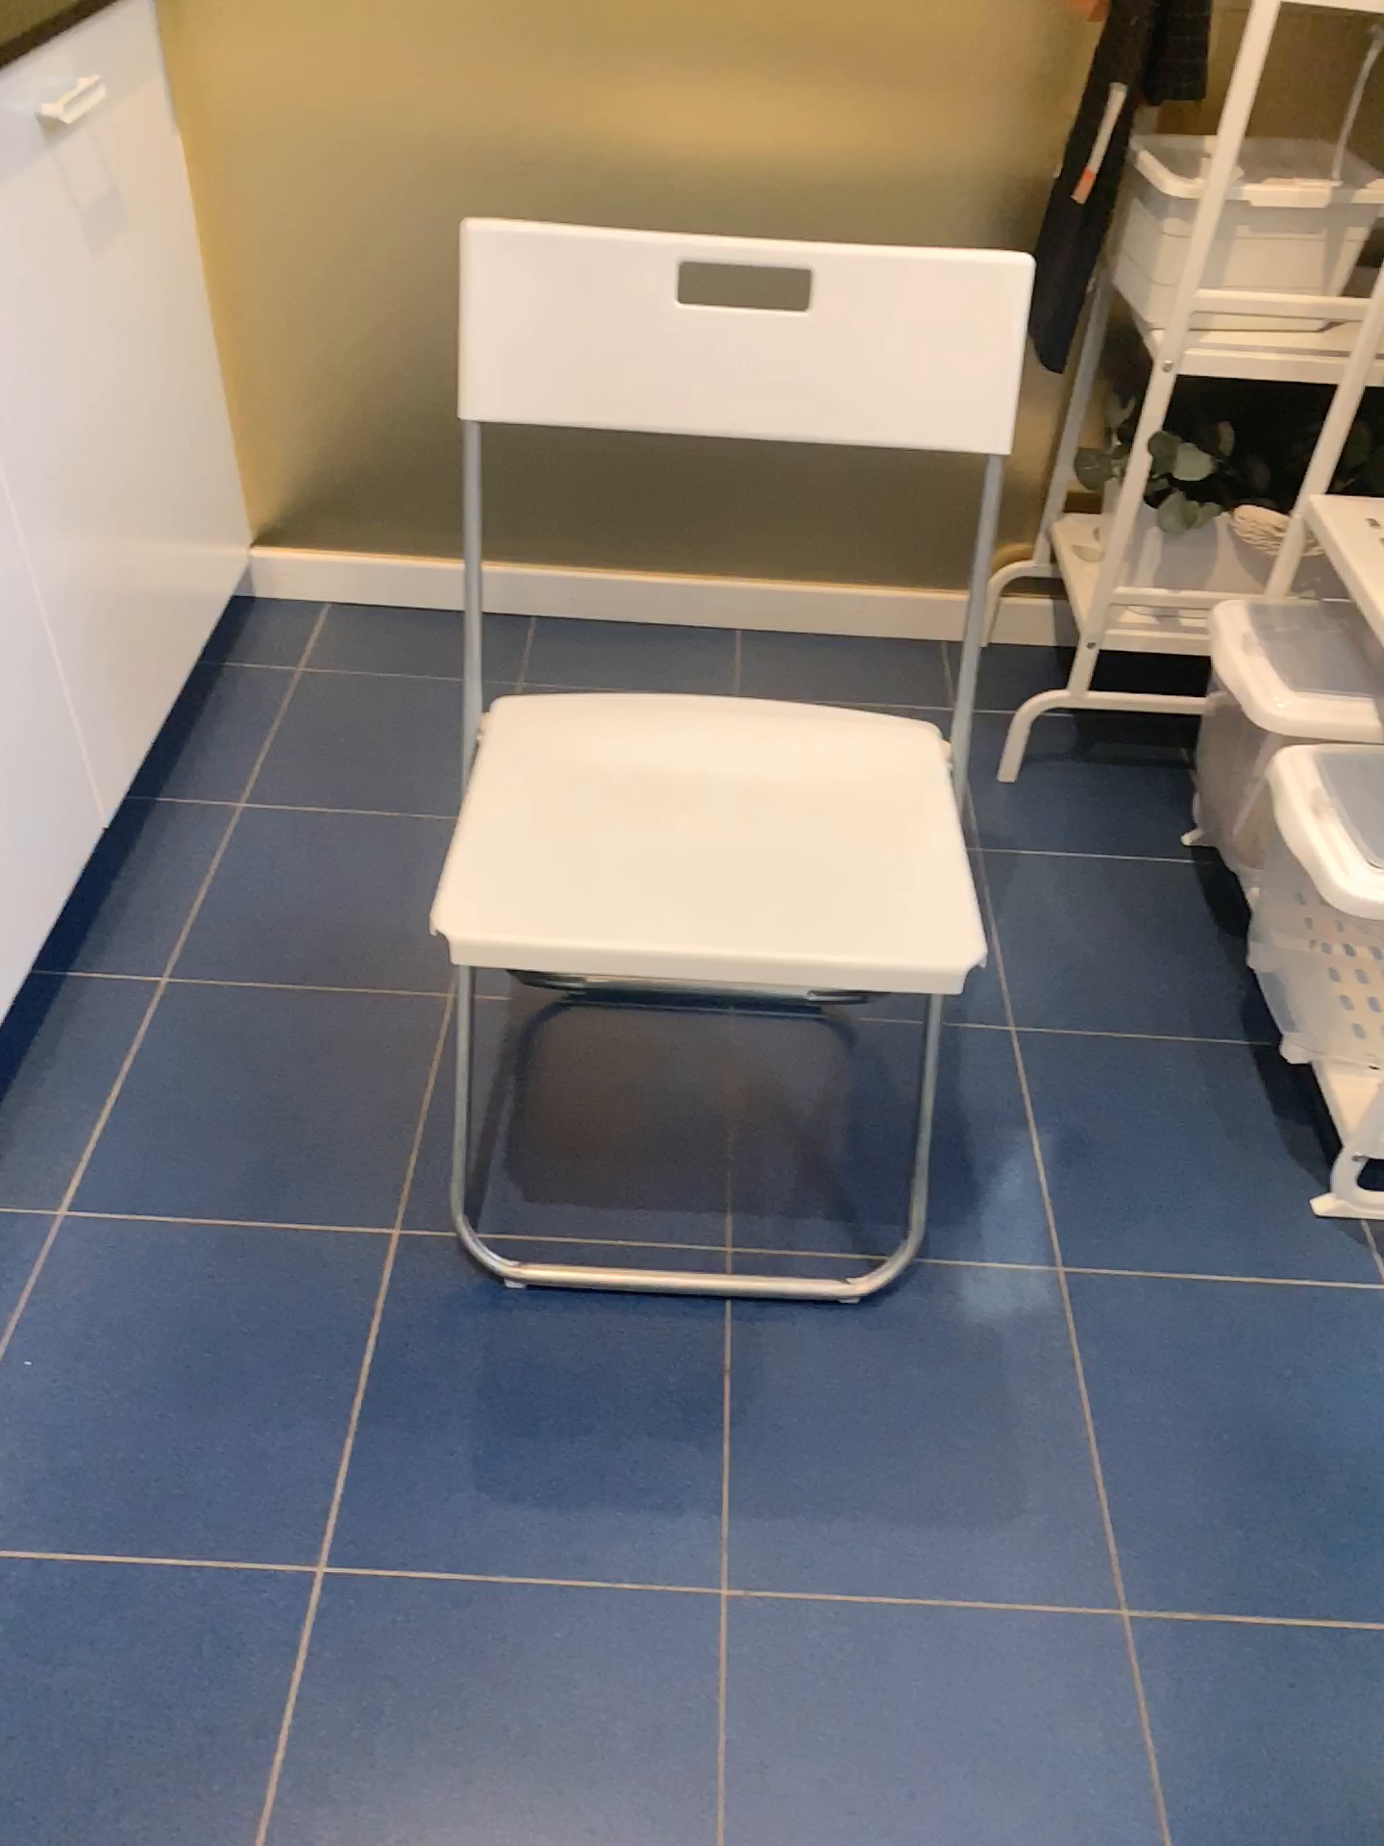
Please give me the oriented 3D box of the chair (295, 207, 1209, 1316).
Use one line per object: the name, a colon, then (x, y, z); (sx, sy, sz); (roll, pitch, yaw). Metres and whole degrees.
chair: (0.025, -0.102, 1.111); (0.460, 0.707, 0.452); (4, 42, 1)
